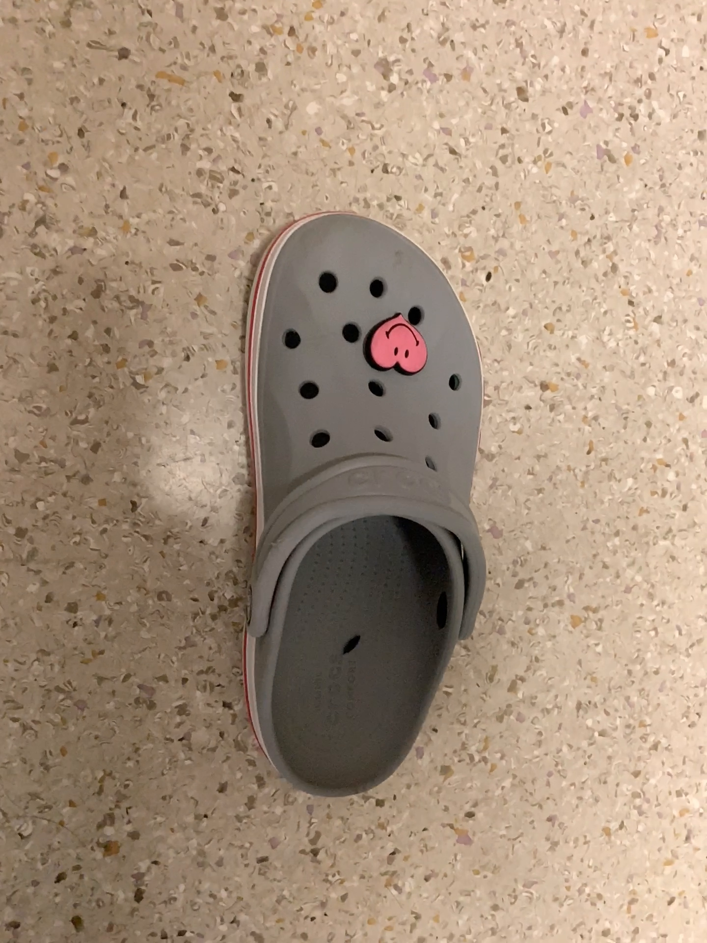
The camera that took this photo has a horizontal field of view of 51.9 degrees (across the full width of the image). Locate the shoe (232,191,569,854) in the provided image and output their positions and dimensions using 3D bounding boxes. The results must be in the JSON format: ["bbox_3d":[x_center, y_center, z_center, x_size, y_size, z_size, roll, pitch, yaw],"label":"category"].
[{"bbox_3d":[0.012,0.018,0.305,0.109,0.091,0.226,1,92,-16],"label":"shoe"}]
